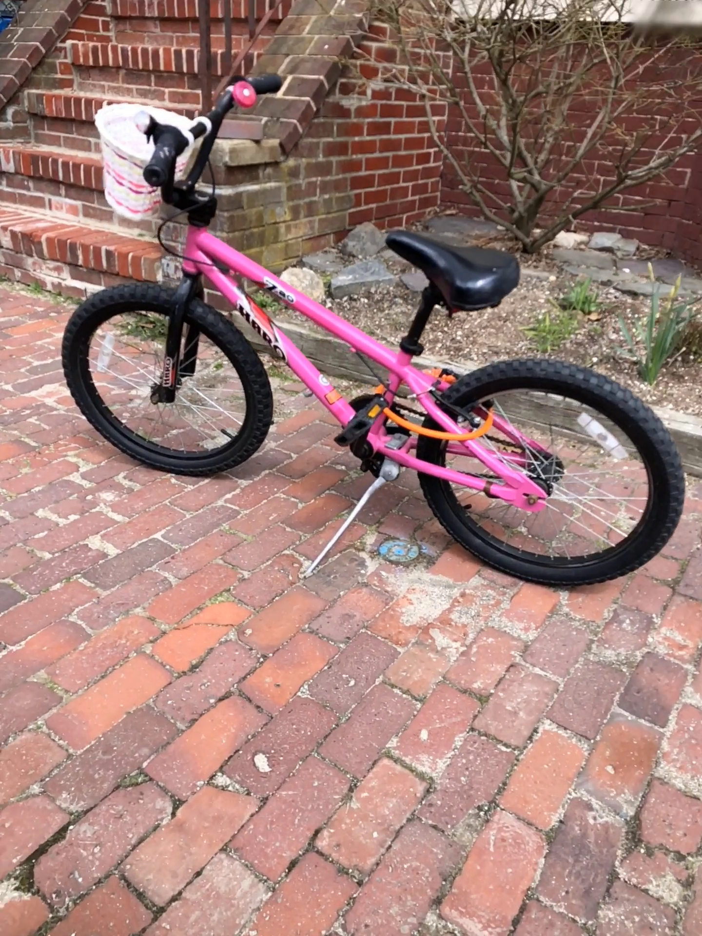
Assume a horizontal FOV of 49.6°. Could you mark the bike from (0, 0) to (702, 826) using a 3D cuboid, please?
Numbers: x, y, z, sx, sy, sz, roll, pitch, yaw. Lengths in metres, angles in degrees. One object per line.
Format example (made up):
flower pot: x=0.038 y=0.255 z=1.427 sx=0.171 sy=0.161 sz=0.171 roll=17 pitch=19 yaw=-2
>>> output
bike: x=-0.075 y=-0.217 z=1.356 sx=1.338 sy=0.906 sz=0.715 roll=15 pitch=29 yaw=17
